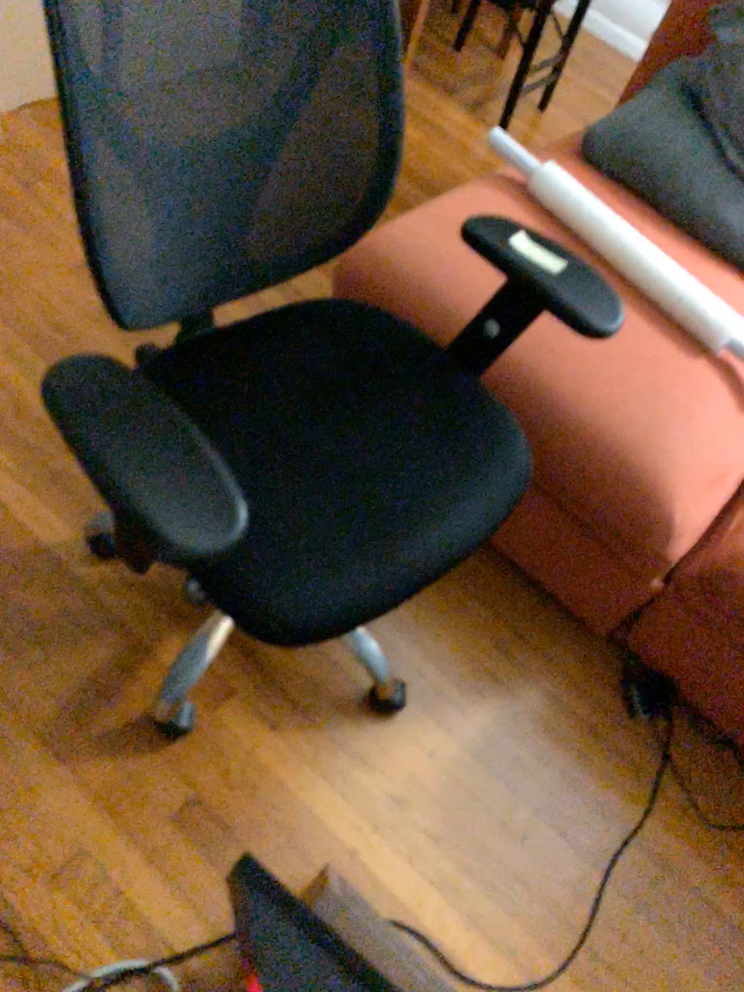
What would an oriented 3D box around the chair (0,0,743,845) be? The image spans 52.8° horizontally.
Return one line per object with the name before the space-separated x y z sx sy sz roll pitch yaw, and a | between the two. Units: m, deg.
chair | -0.069 -0.171 0.972 0.642 0.976 0.661 -29 64 -33
